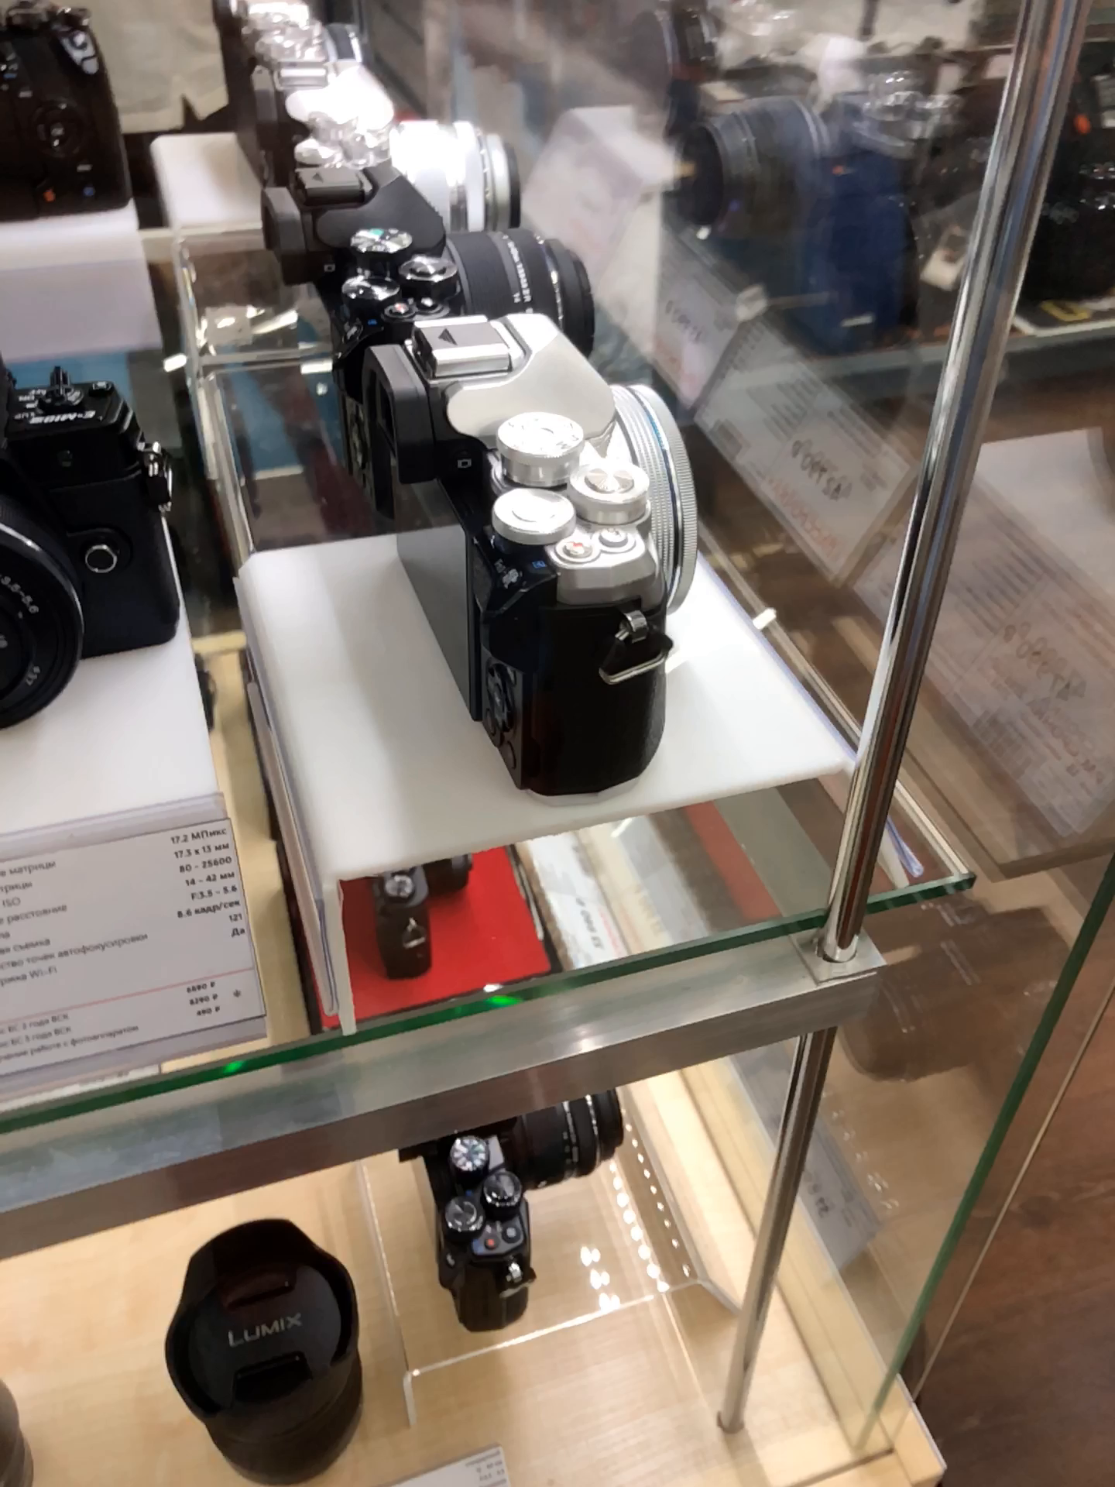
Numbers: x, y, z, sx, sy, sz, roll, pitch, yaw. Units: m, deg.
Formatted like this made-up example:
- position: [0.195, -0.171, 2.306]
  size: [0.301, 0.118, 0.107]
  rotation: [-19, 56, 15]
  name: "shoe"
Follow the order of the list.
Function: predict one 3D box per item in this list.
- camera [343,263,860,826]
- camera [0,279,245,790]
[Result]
- position: [0.002, -0.054, 0.290]
  size: [0.073, 0.067, 0.123]
  rotation: [-13, 42, -15]
  name: "camera"
- position: [-0.136, -0.051, 0.279]
  size: [0.109, 0.068, 0.079]
  rotation: [-12, 42, -14]
  name: "camera"
